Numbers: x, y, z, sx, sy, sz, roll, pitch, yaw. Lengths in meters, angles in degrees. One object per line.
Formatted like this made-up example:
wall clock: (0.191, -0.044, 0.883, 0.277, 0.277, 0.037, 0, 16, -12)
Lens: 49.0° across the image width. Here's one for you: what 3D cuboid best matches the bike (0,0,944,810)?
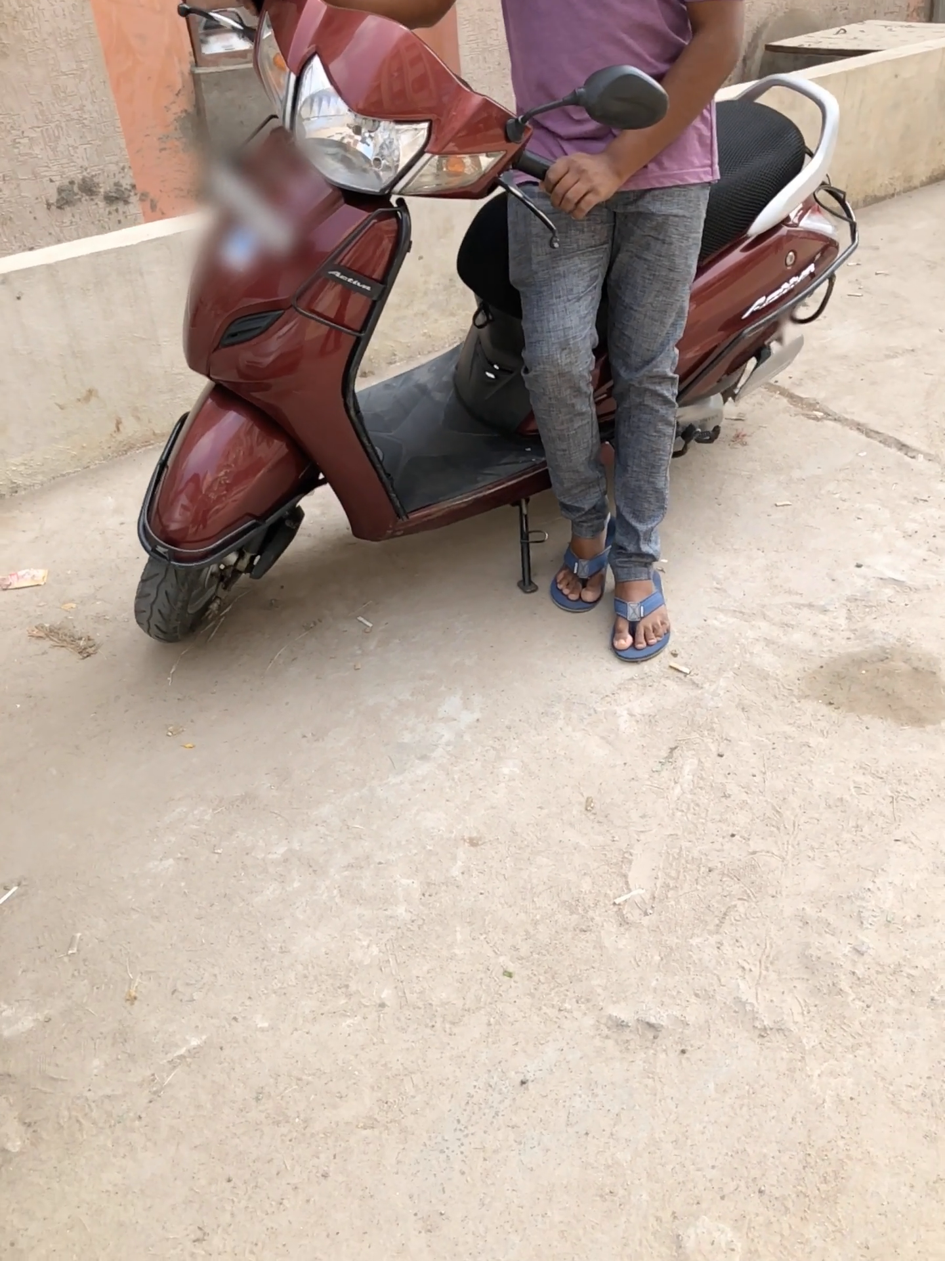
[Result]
bike: (0.059, -0.598, 1.960, 1.583, 1.072, 0.630, -26, 40, -26)
